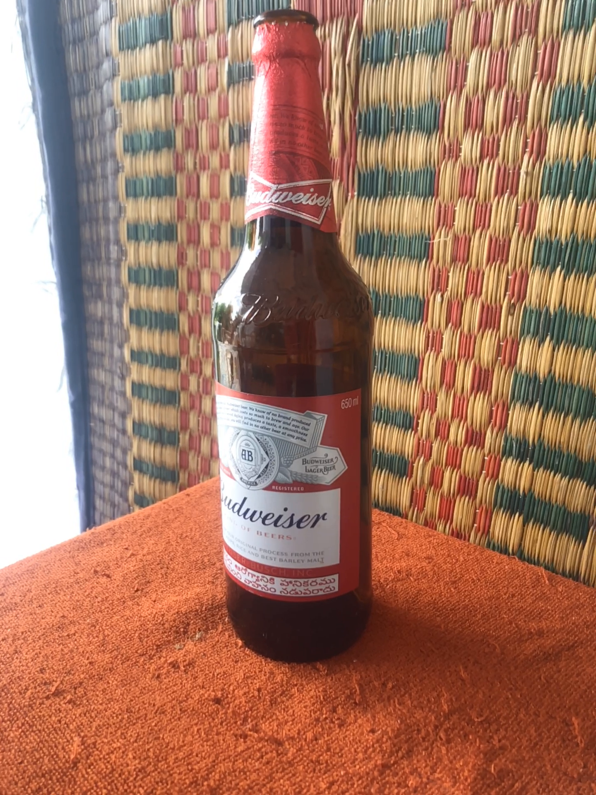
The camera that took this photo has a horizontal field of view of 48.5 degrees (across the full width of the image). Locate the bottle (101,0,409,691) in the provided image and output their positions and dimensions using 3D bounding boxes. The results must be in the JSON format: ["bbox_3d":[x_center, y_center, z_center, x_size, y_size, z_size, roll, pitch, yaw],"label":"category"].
[{"bbox_3d":[-0.013,-0.020,0.285,0.090,0.259,0.070,14,24,38],"label":"bottle"}]
